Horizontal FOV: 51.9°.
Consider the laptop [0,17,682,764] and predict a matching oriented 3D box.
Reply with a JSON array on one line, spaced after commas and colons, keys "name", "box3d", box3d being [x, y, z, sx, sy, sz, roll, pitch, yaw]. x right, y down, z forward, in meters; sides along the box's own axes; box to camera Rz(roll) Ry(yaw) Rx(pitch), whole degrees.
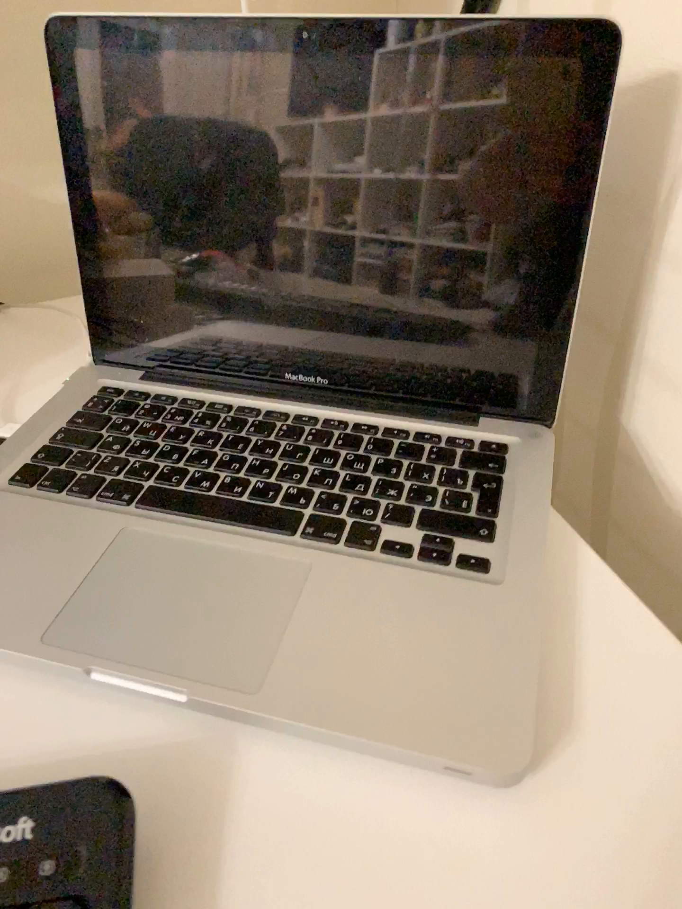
[{"name": "laptop", "box3d": [-0.045, -0.066, 0.320, 0.300, 0.196, 0.251, 8, 39, 13]}]
